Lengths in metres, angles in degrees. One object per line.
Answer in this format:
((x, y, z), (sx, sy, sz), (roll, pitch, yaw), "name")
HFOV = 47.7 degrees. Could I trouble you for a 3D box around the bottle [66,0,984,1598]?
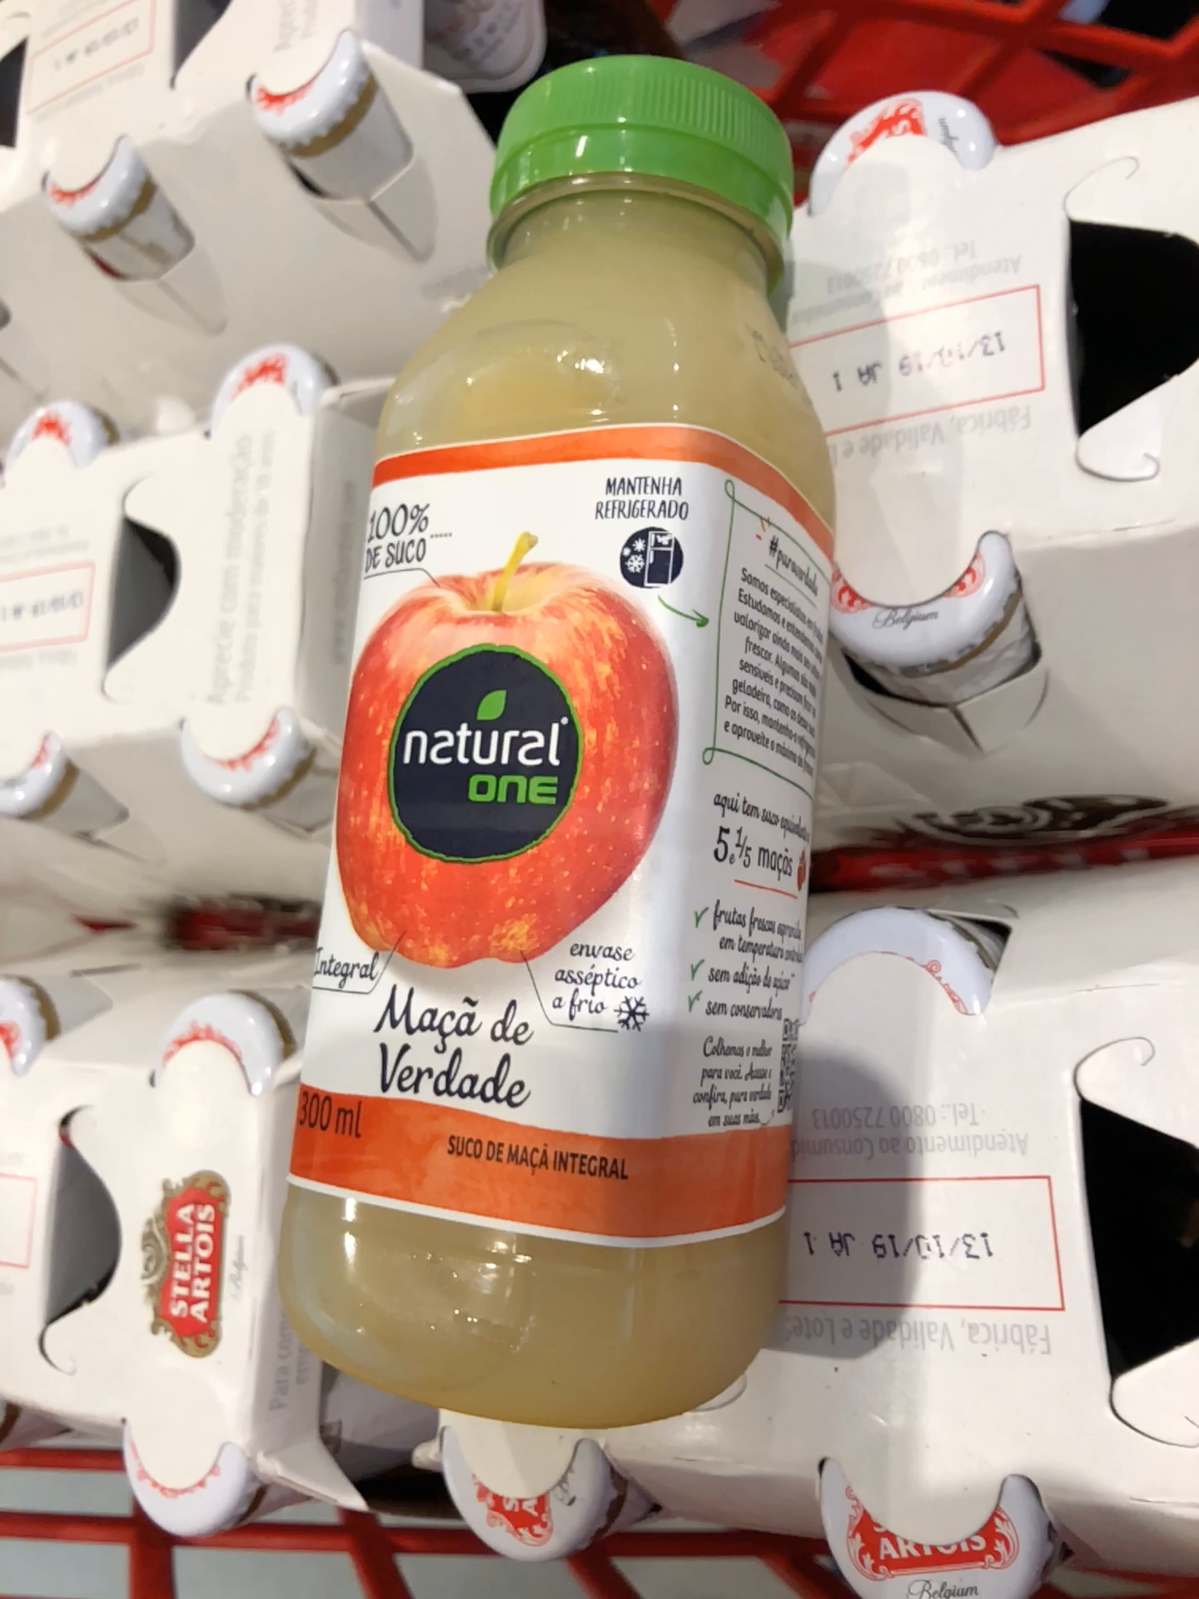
((-0.001, -0.019, 0.161), (0.060, 0.060, 0.180), (3, 80, 31), "bottle")
